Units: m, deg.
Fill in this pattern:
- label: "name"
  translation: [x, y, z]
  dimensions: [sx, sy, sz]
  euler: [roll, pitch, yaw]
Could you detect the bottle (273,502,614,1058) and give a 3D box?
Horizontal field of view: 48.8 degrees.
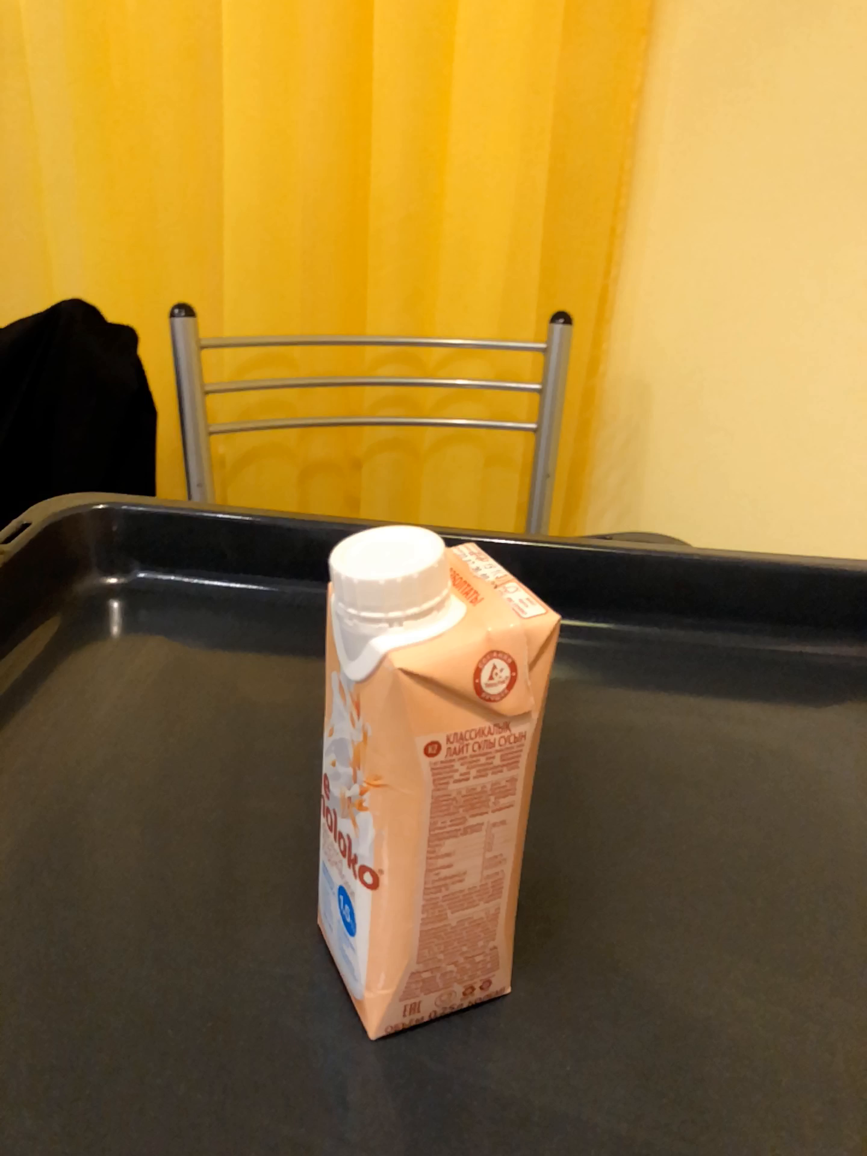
- label: "bottle"
  translation: [-0.004, 0.050, 0.250]
  dimensions: [0.060, 0.119, 0.060]
  euler: [4, 26, -2]
